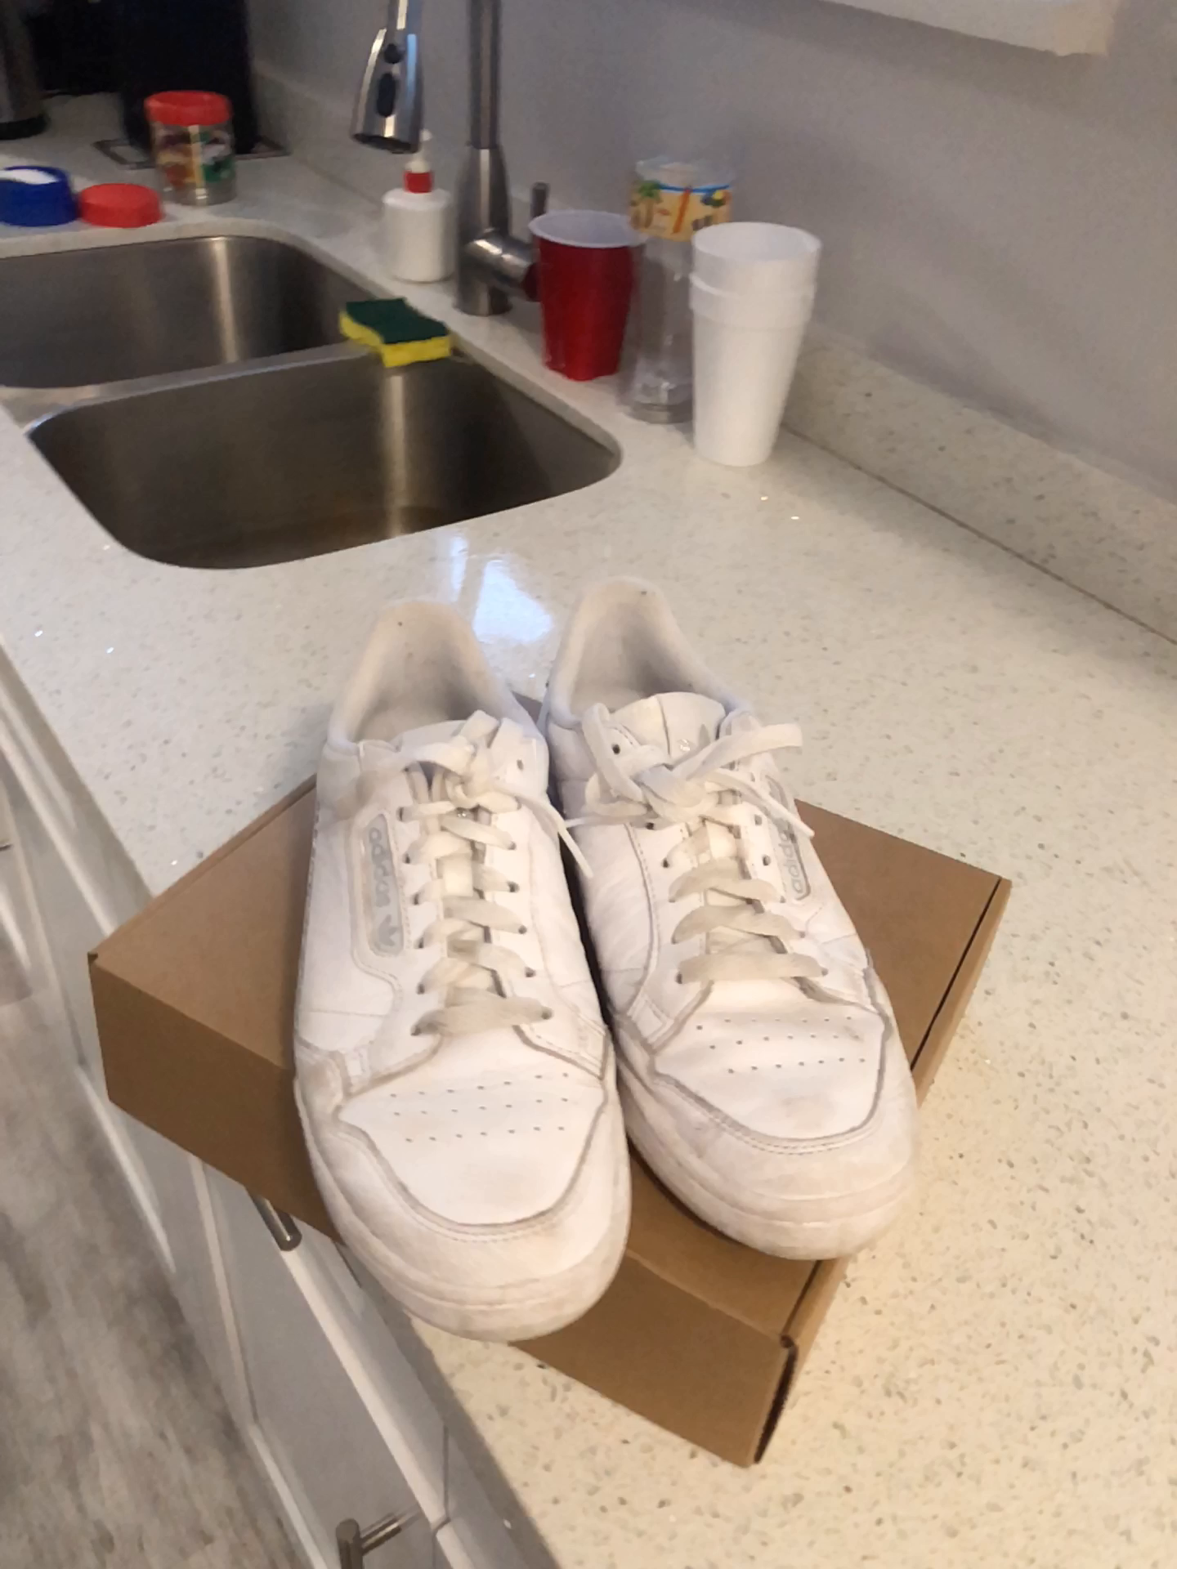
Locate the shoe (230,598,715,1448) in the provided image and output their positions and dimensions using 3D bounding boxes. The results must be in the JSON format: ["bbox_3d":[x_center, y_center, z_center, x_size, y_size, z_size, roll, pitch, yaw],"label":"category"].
[{"bbox_3d":[-0.056,0.052,0.431,0.107,0.100,0.269,-6,39,-12],"label":"shoe"}]

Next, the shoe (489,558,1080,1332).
[{"bbox_3d":[0.041,0.032,0.457,0.107,0.100,0.269,-6,39,-12],"label":"shoe"}]
